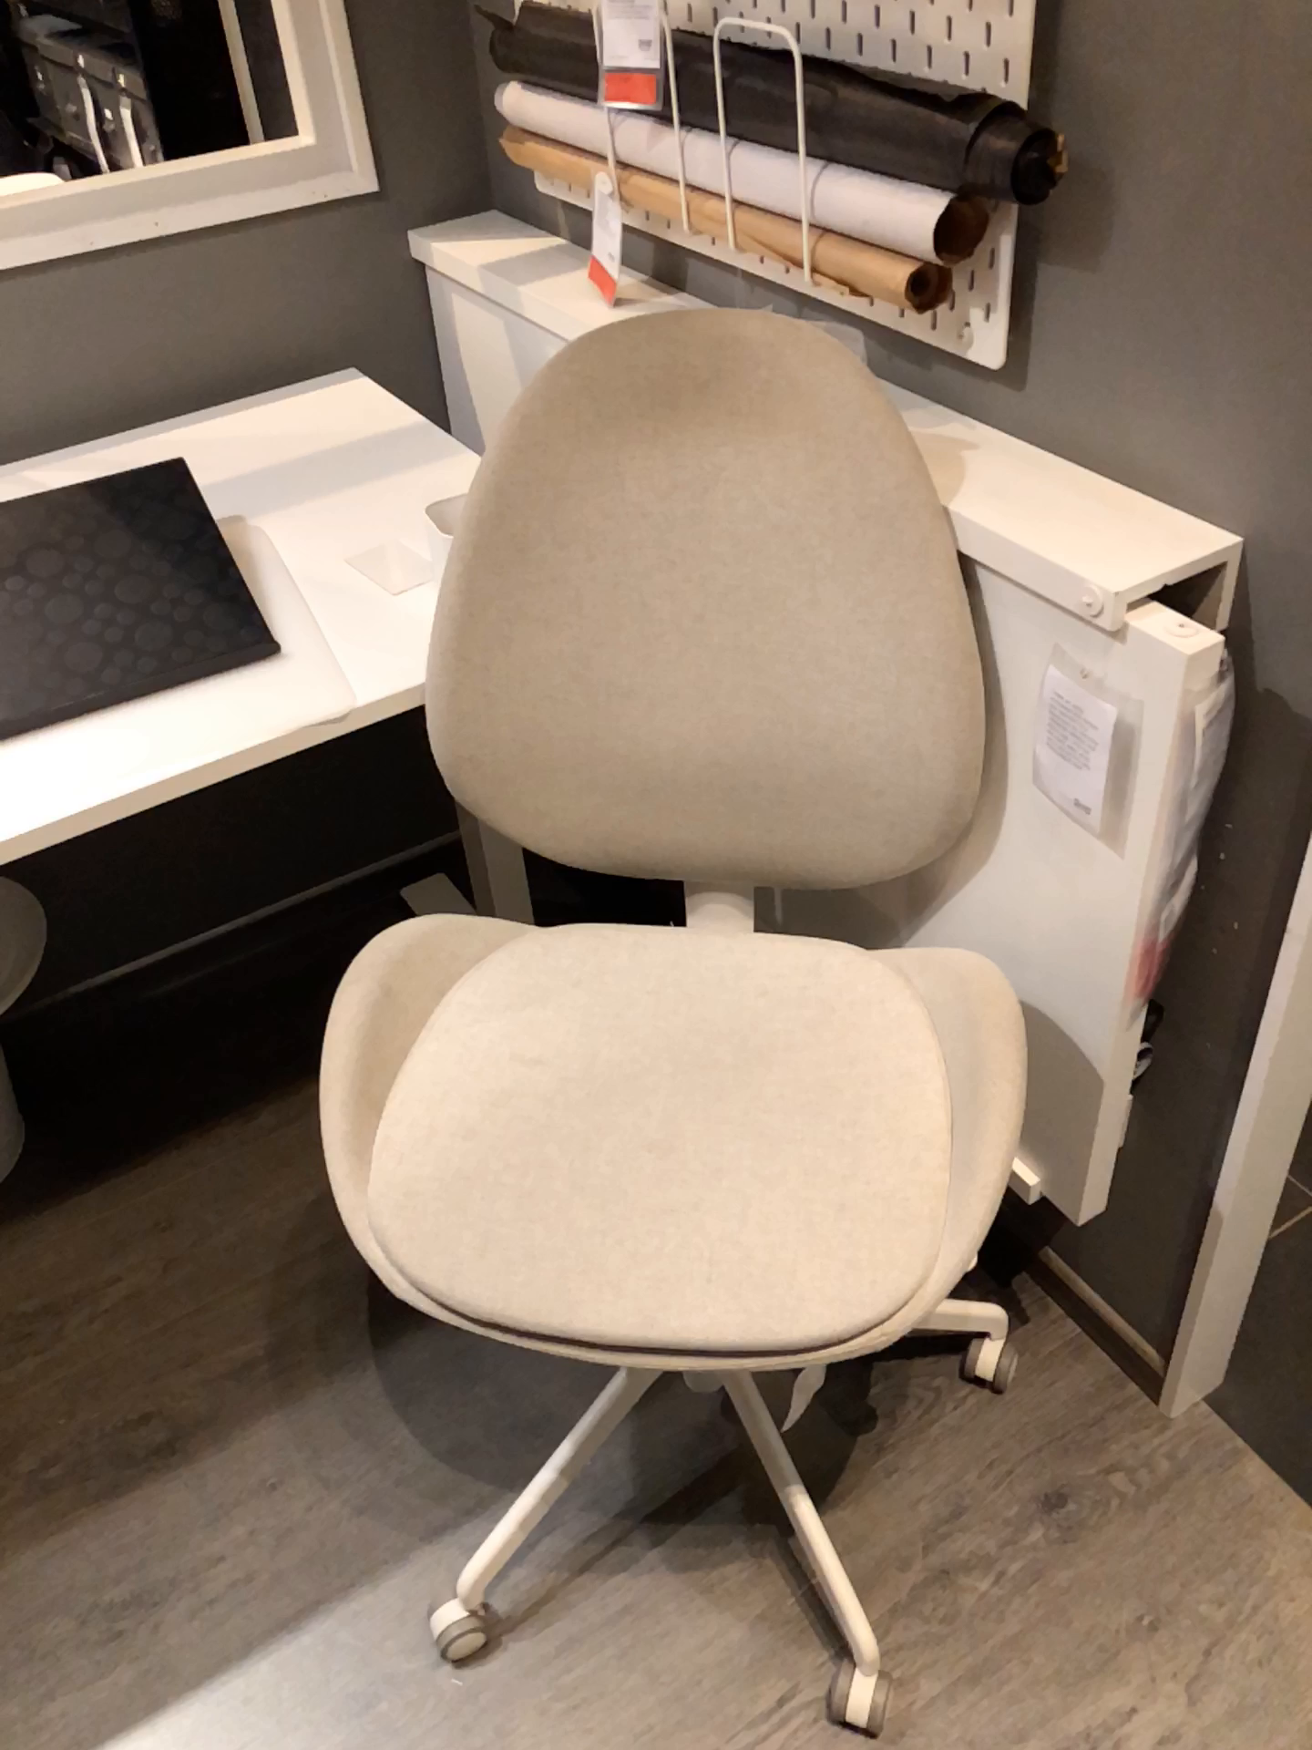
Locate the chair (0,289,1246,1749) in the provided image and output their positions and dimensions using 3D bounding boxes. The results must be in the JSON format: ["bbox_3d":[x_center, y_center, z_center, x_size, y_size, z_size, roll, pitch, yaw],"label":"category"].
[{"bbox_3d":[0.002,0.123,1.197,0.680,0.964,0.684,4,40,11],"label":"chair"}]
